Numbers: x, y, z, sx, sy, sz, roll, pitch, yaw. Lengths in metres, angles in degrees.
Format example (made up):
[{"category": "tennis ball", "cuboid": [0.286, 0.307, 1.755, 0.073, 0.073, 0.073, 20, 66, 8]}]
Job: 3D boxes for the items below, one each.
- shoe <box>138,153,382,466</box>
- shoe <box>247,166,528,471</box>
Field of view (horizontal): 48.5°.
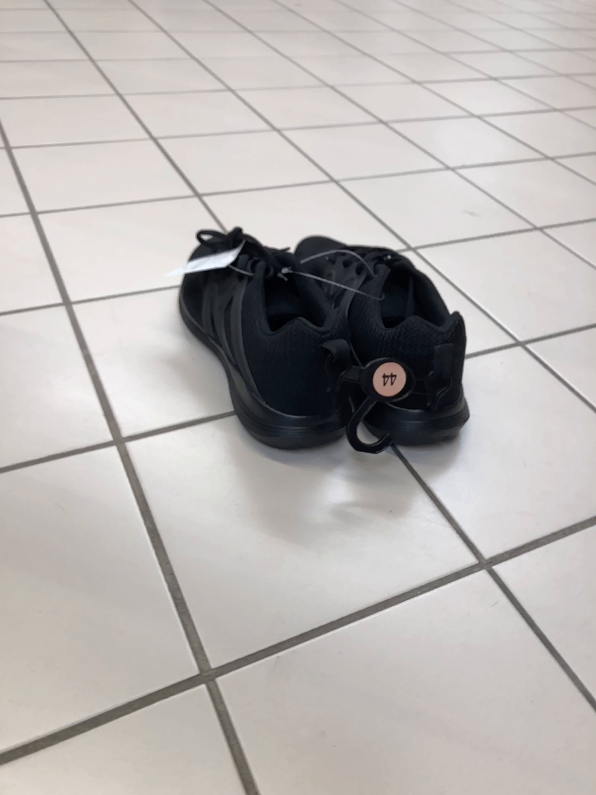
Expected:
[{"category": "shoe", "cuboid": [-0.052, -0.098, 0.576, 0.100, 0.109, 0.311, -11, 43, -20]}, {"category": "shoe", "cuboid": [0.055, -0.092, 0.596, 0.100, 0.109, 0.311, -11, 43, -20]}]
